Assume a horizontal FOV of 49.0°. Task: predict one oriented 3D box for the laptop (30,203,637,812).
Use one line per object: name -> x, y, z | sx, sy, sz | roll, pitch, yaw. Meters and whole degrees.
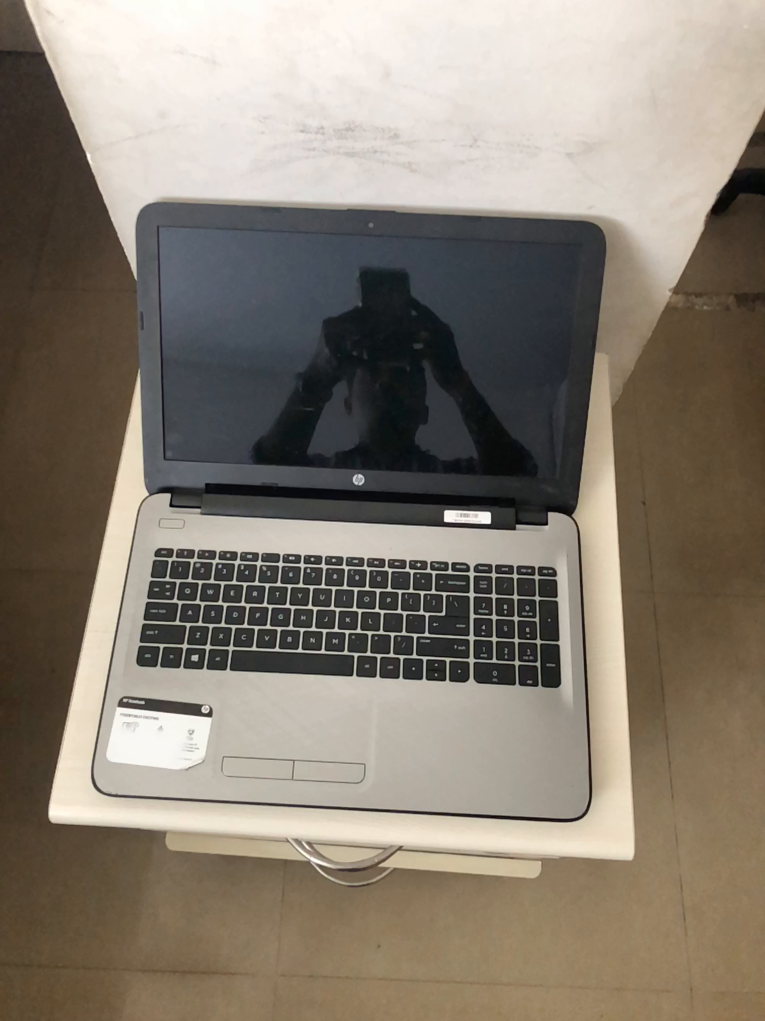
laptop -> -0.020, -0.009, 0.640 | 0.361, 0.136, 0.426 | 3, 68, 1
